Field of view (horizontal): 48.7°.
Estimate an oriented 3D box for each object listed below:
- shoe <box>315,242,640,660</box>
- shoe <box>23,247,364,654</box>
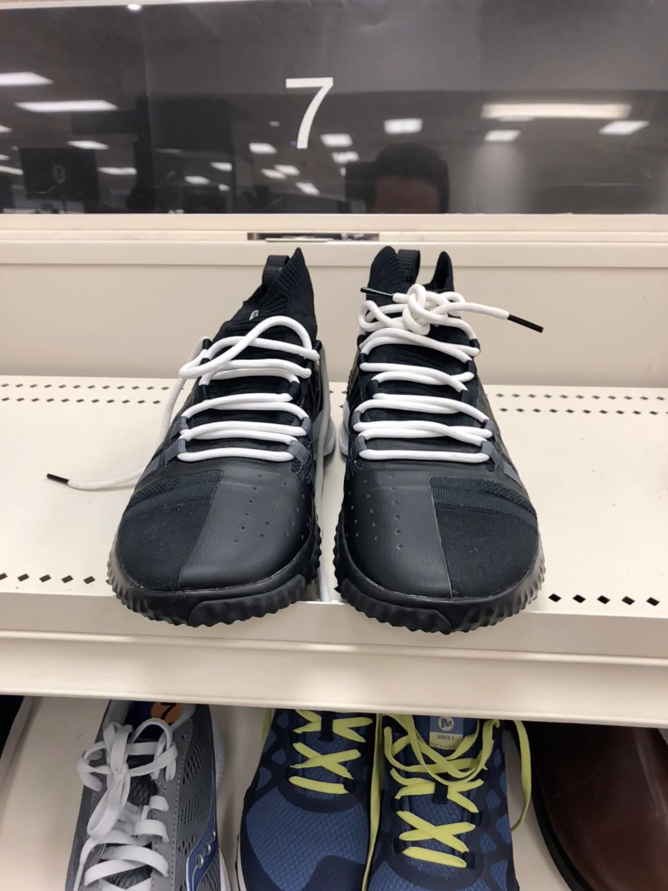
[{"bbox_3d":[0.057,-0.036,0.462,0.120,0.136,0.352,0,22,1],"label":"shoe"},{"bbox_3d":[-0.049,-0.036,0.477,0.120,0.136,0.352,1,22,5],"label":"shoe"}]
